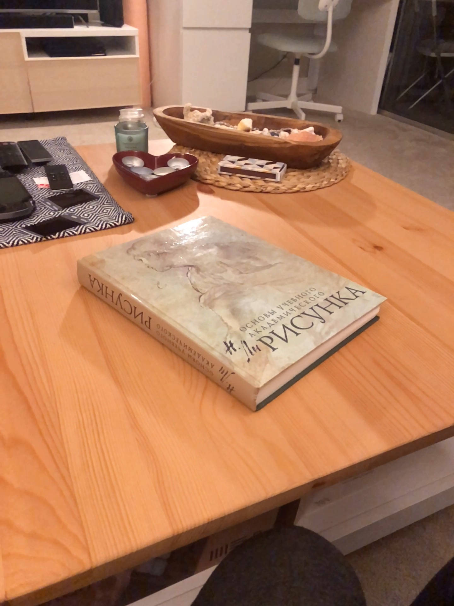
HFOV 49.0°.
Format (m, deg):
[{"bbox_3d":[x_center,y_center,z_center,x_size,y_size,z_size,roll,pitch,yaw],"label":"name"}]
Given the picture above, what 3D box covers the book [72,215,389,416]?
[{"bbox_3d":[0.001,-0.014,0.548,0.272,0.030,0.215,30,40,34],"label":"book"}]
